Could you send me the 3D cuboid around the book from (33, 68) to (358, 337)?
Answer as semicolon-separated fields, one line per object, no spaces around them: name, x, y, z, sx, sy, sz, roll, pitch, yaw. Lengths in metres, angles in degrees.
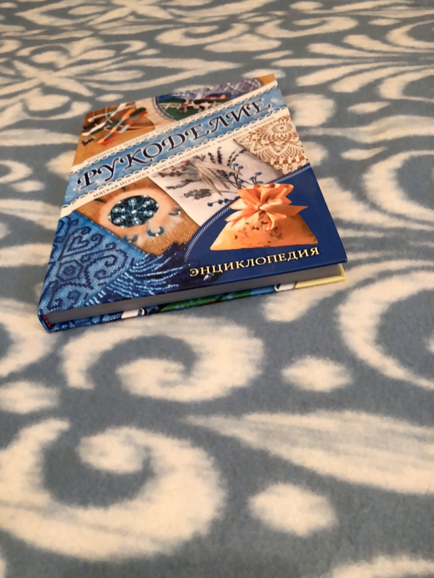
book;-0.021;-0.080;0.335;0.168;0.020;0.239;-10;45;3
